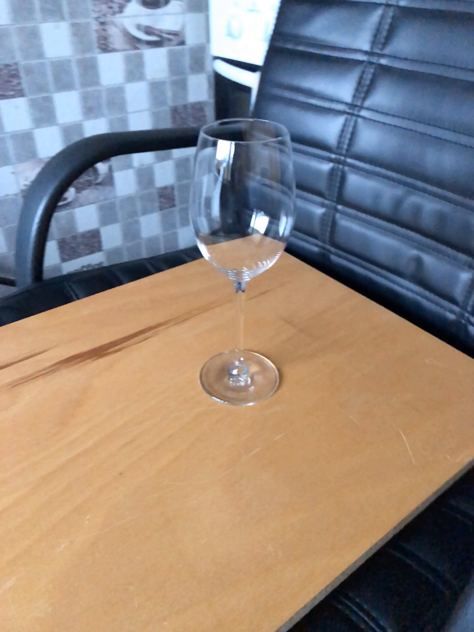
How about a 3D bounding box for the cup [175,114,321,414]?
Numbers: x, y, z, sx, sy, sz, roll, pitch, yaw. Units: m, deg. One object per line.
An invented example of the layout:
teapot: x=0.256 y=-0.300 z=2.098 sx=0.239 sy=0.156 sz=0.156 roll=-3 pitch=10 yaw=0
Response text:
cup: x=0.003 y=-0.036 z=0.418 sx=0.089 sy=0.218 sz=0.090 roll=0 pitch=34 yaw=0
